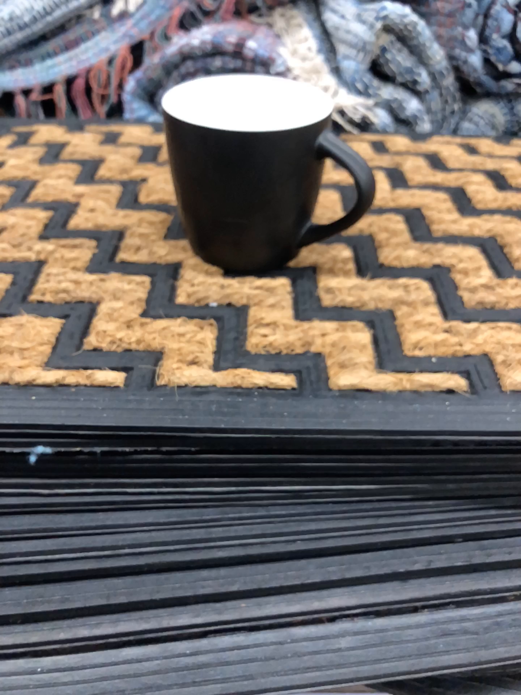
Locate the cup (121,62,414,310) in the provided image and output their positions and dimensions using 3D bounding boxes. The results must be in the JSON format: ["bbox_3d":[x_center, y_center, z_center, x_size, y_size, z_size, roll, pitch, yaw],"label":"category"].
[{"bbox_3d":[0.004,-0.096,0.329,0.123,0.081,0.090,23,44,24],"label":"cup"}]
